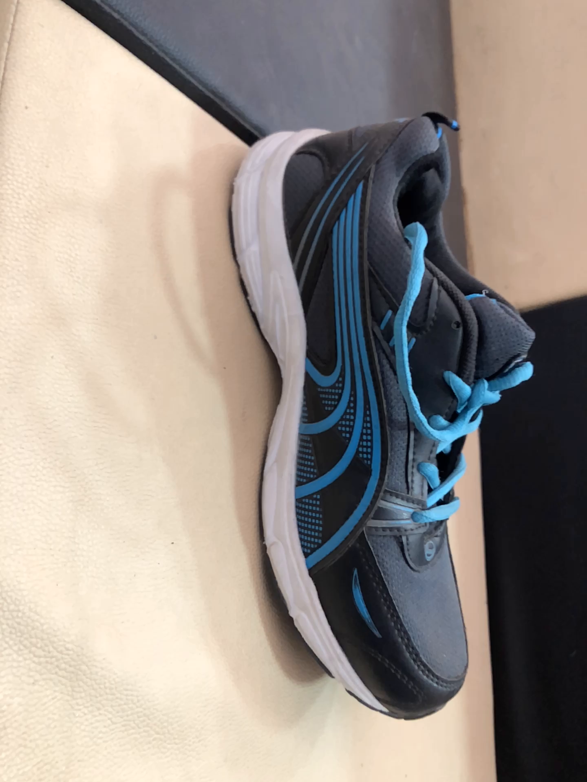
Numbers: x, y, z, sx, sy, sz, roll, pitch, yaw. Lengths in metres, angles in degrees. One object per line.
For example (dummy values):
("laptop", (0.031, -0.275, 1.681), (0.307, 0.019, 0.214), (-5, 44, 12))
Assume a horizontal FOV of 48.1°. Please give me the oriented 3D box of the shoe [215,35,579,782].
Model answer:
("shoe", (0.050, 0.008, 0.304), (0.101, 0.099, 0.270), (-2, 84, -56))
